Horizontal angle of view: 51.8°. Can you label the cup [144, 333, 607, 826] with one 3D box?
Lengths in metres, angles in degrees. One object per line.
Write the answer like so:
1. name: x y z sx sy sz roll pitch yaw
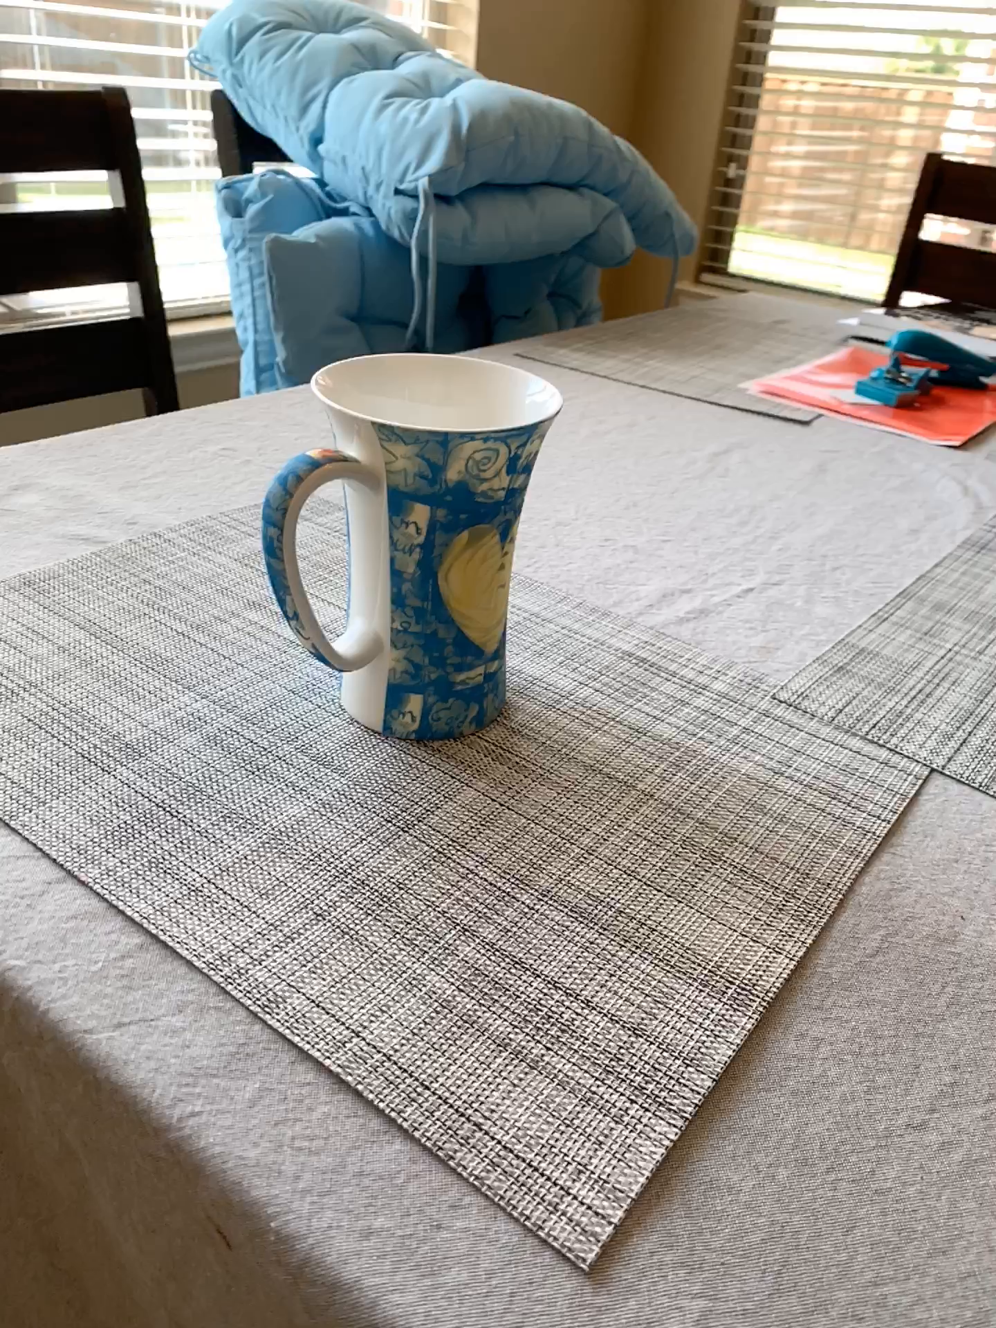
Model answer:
1. cup: -0.049 -0.046 0.437 0.100 0.149 0.153 28 36 33
